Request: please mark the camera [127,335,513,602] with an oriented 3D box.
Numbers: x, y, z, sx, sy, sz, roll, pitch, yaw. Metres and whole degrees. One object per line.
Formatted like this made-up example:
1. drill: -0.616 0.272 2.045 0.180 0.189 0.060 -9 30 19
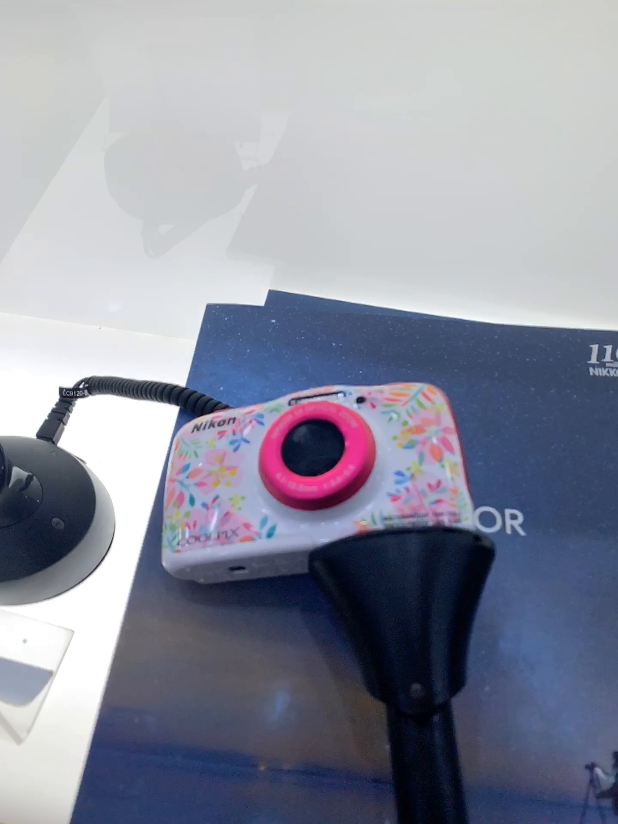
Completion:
1. camera: 0.002 0.017 0.221 0.110 0.040 0.080 -3 49 -1
